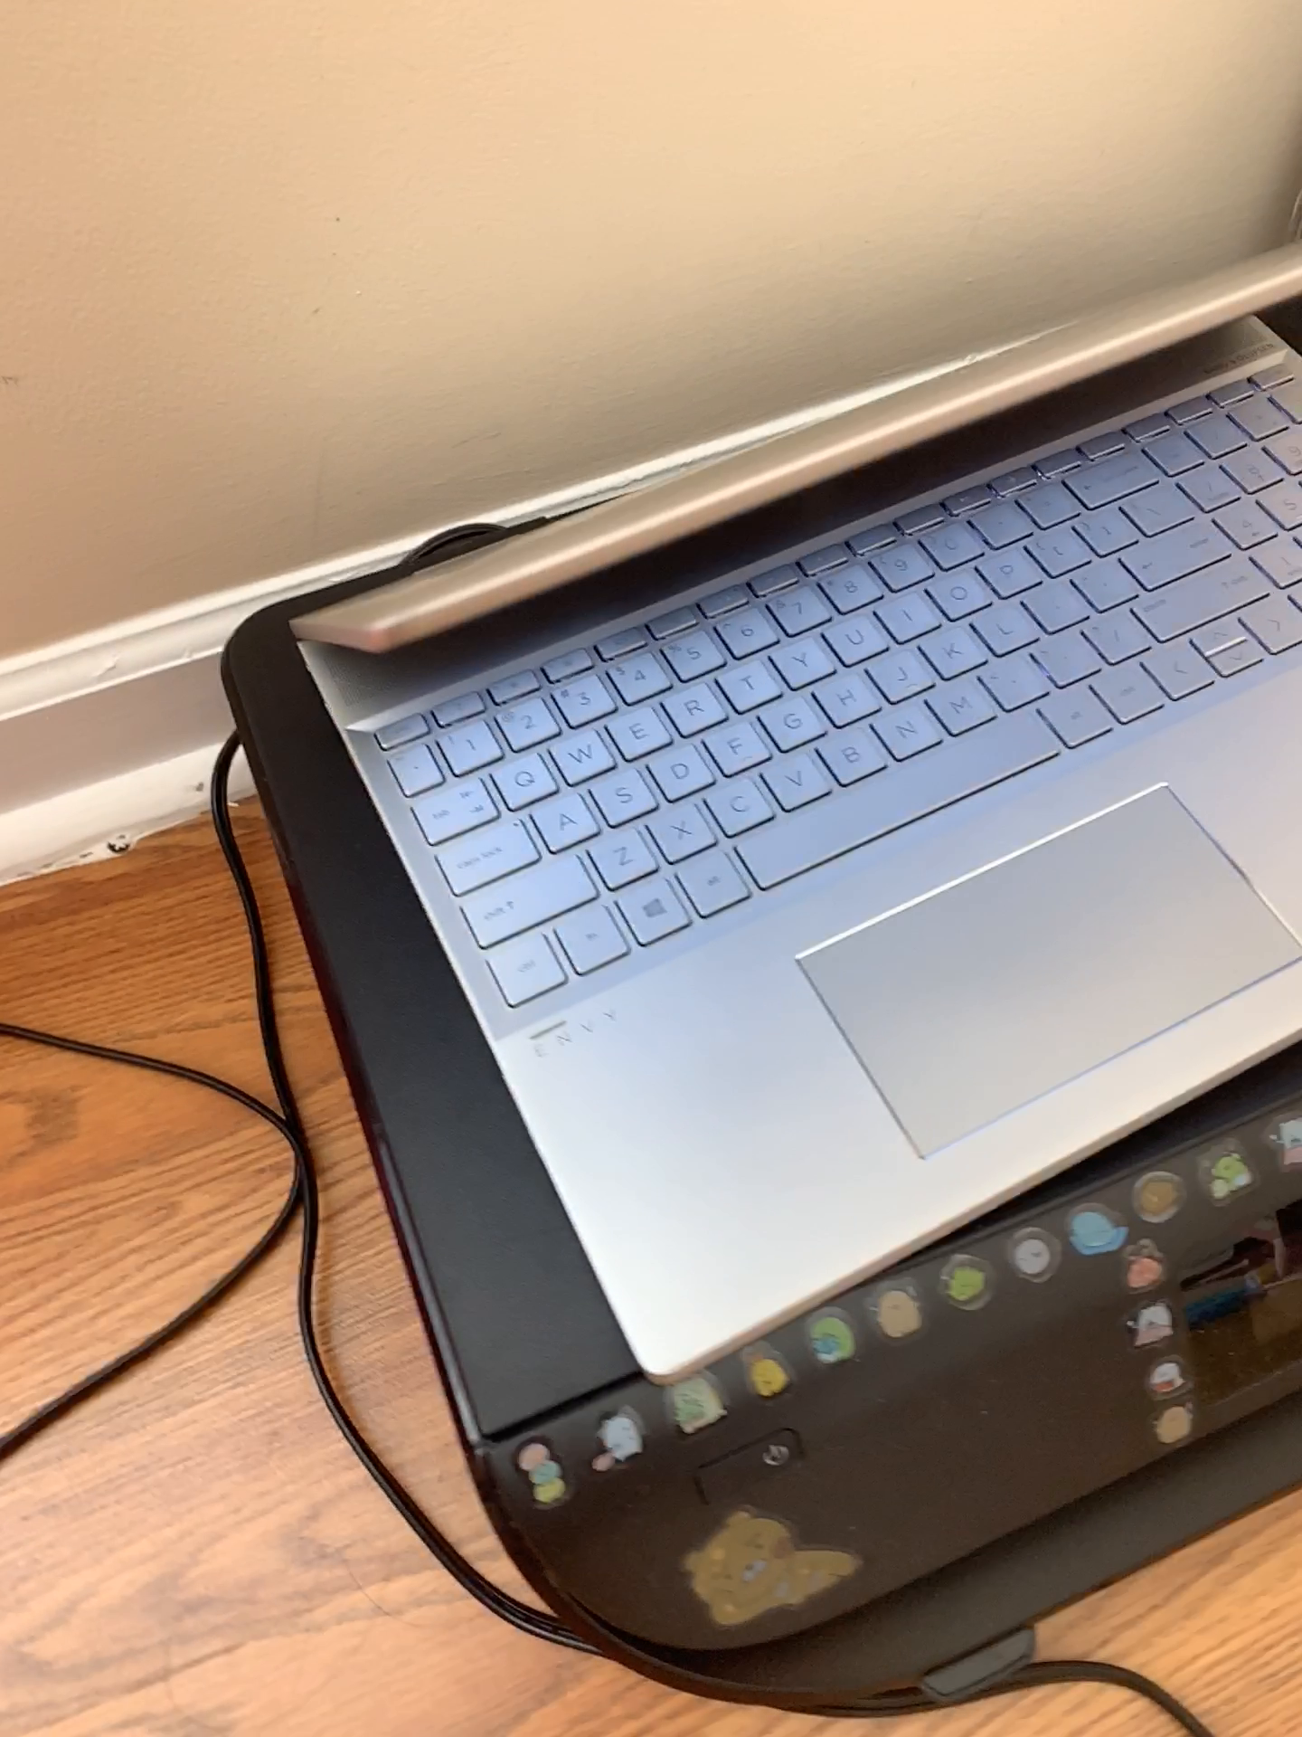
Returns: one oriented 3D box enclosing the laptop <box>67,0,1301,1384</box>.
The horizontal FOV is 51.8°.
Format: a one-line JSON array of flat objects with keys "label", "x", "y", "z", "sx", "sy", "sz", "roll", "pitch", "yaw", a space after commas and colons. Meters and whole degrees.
[{"label": "laptop", "x": 0.100, "y": -0.091, "z": 0.313, "sx": 0.350, "sy": 0.169, "sz": 0.237, "roll": -24, "pitch": 62, "yaw": -12}]
